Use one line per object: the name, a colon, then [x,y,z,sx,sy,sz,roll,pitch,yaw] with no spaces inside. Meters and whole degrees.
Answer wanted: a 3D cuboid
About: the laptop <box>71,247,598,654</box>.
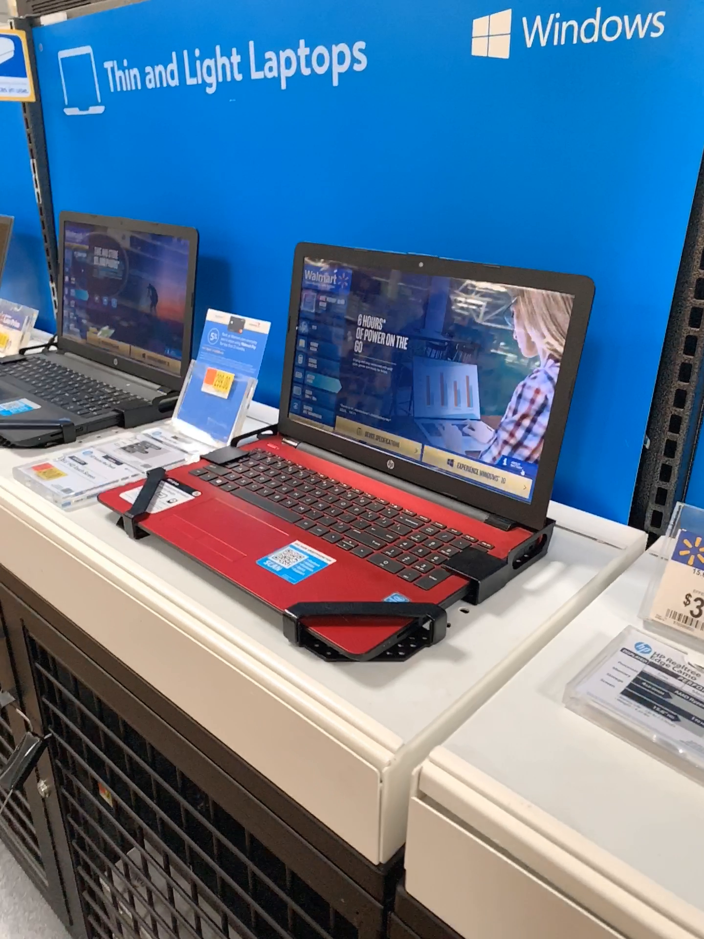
laptop: [-0.025,-0.064,0.669,0.365,0.223,0.280,21,31,40]
